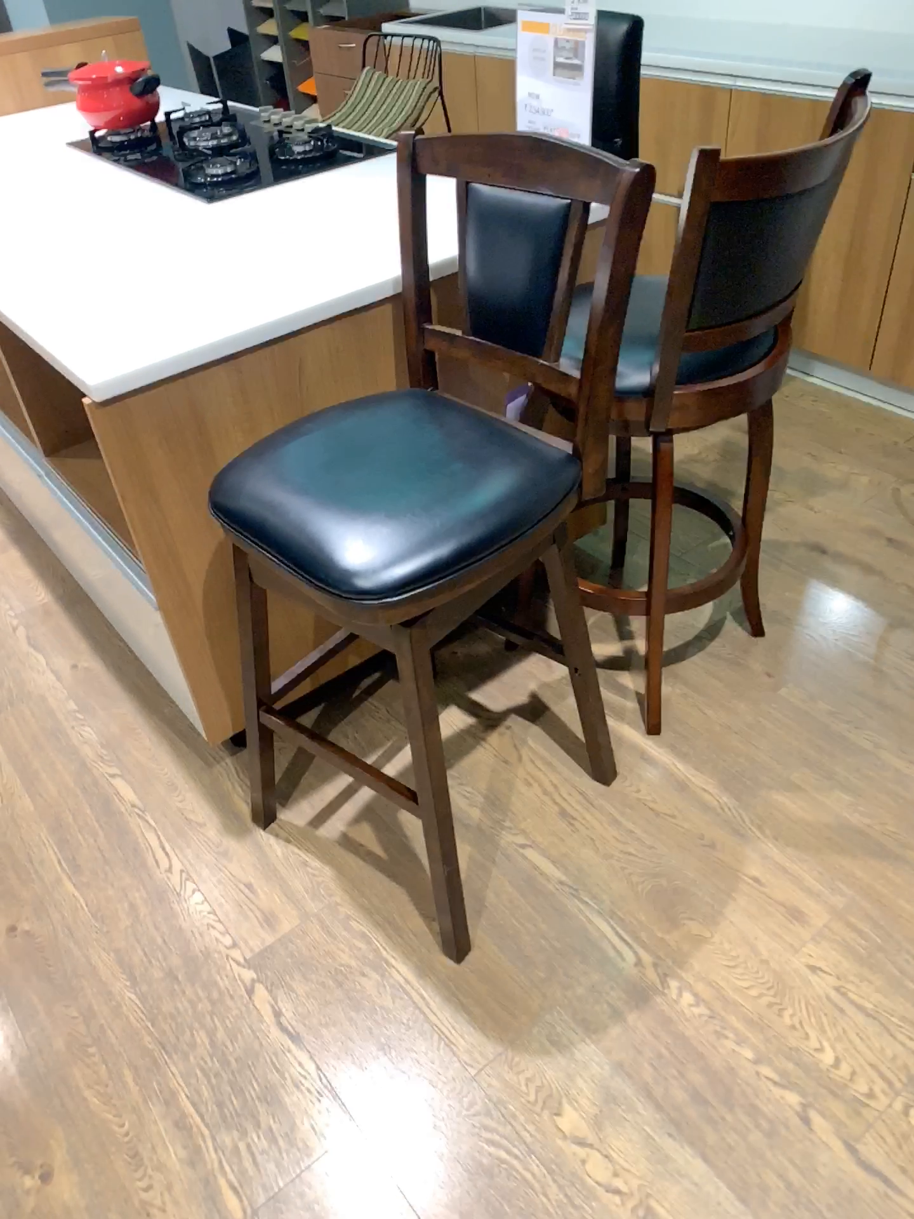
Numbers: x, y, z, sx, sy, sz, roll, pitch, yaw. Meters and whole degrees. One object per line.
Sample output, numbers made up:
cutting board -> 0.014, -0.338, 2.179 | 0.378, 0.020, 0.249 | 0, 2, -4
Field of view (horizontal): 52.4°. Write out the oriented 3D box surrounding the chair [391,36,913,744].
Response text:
chair -> 0.332, -0.400, 1.707 | 0.551, 1.026, 0.572 | -32, 45, -29

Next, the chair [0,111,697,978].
chair -> -0.083, -0.097, 1.393 | 0.581, 1.026, 0.571 | 24, 47, 32
